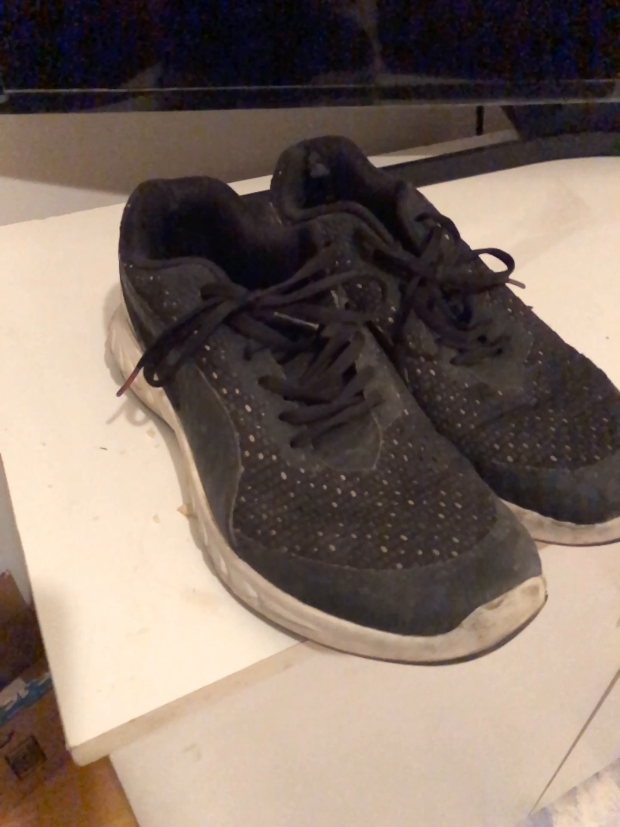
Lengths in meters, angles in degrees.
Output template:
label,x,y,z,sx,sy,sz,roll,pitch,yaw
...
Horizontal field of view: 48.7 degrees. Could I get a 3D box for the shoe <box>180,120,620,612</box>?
label,x,y,z,sx,sy,sz,roll,pitch,yaw
shoe,0.060,-0.058,0.384,0.120,0.099,0.310,-25,48,-27

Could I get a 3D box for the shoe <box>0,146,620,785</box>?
label,x,y,z,sx,sy,sz,roll,pitch,yaw
shoe,-0.031,-0.016,0.323,0.120,0.099,0.310,-25,48,-27
